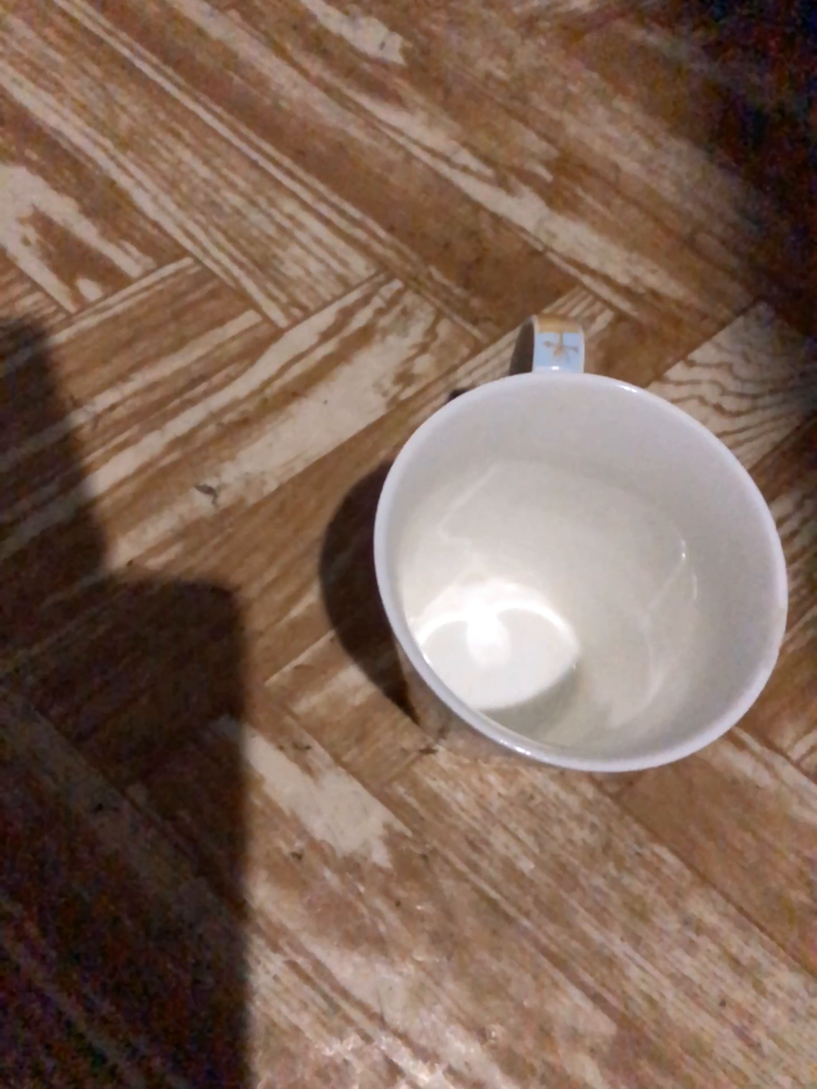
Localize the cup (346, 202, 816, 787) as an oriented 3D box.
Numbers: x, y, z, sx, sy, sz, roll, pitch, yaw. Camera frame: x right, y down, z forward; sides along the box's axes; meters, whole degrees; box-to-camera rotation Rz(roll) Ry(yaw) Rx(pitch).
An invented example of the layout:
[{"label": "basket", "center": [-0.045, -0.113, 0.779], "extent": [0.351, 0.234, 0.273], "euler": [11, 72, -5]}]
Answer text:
[{"label": "cup", "center": [0.028, -0.005, 0.220], "extent": [0.079, 0.090, 0.111], "euler": [0, 68, -7]}]
